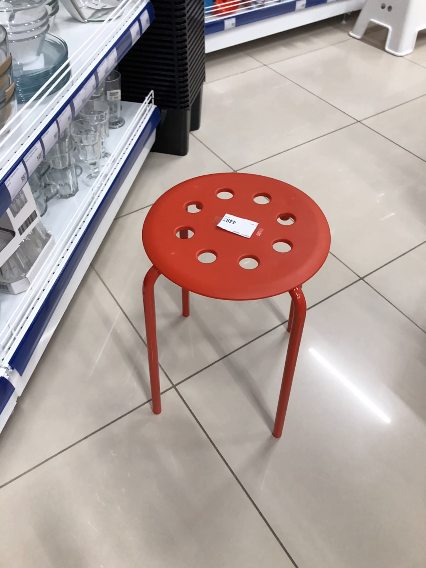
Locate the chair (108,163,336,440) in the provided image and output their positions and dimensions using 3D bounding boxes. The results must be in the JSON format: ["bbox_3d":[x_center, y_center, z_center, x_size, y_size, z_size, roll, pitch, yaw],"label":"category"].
[{"bbox_3d":[0.034,0.042,0.919,0.320,0.404,0.315,9,49,8],"label":"chair"}]
